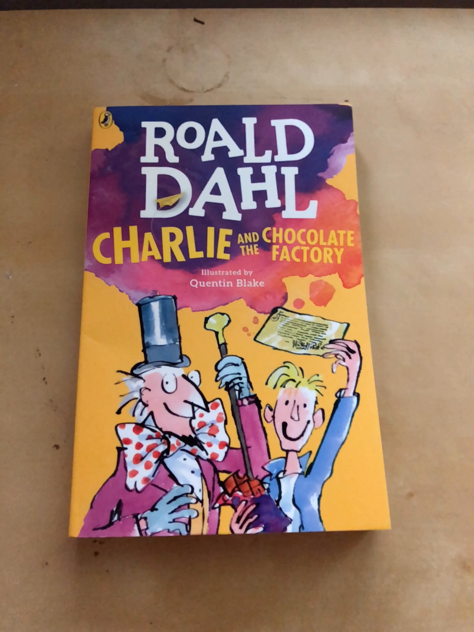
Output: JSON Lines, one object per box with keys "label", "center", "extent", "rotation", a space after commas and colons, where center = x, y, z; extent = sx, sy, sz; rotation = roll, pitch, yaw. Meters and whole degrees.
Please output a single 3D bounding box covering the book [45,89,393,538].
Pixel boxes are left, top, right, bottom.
{"label": "book", "center": [-0.010, -0.009, 0.249], "extent": [0.134, 0.040, 0.201], "rotation": [-1, 75, -2]}
